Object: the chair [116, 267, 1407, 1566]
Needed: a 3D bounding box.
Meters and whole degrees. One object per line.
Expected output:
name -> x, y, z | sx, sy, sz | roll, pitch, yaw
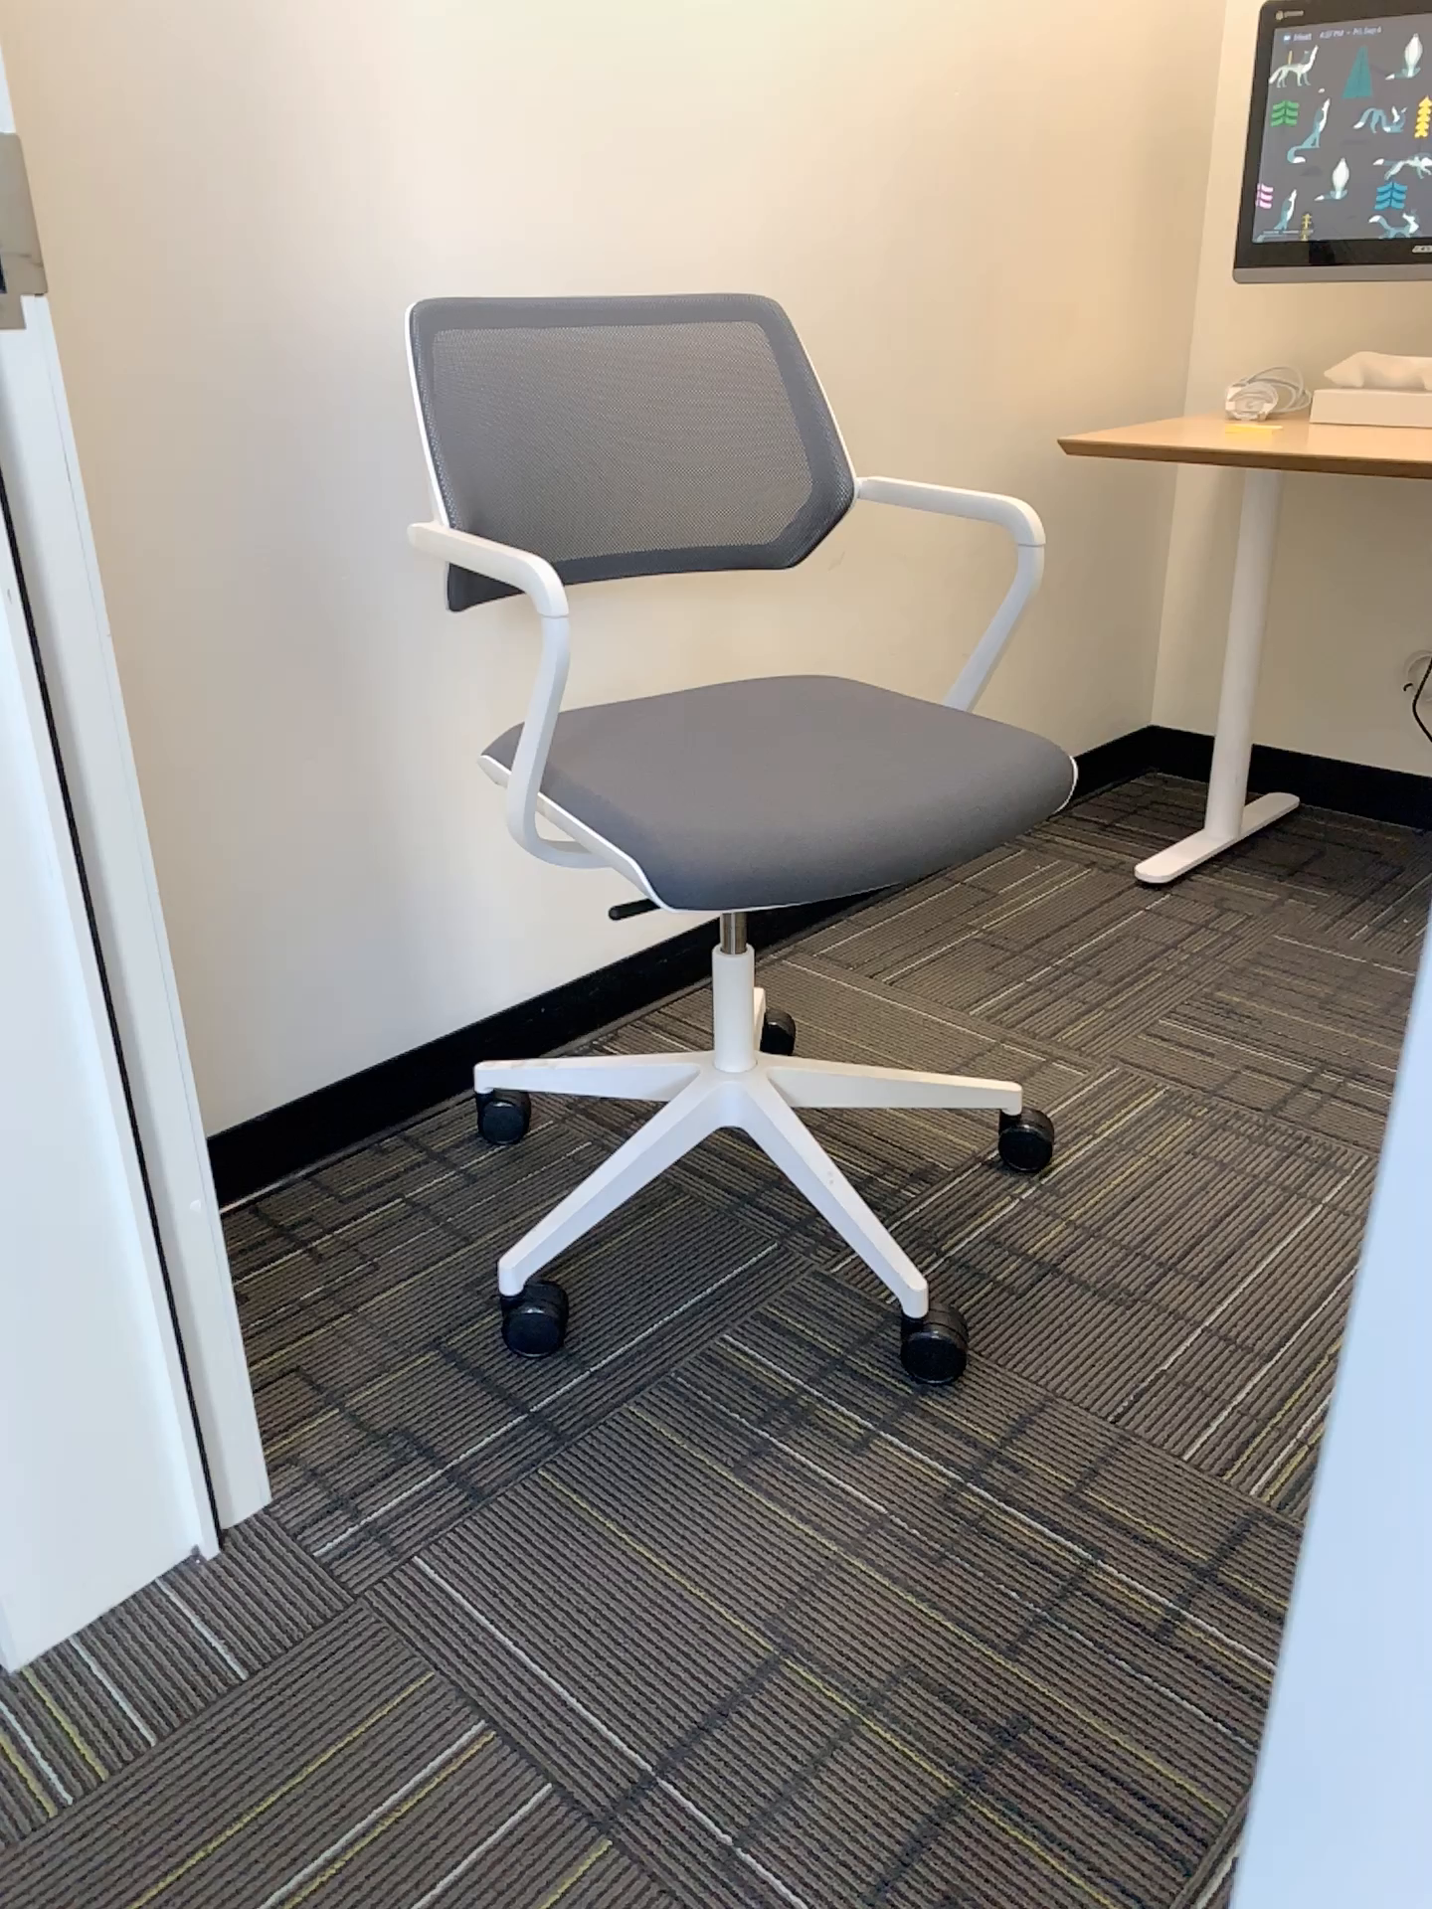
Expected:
chair -> 0.031, -0.177, 1.471 | 0.801, 0.915, 0.804 | -21, 32, -37
